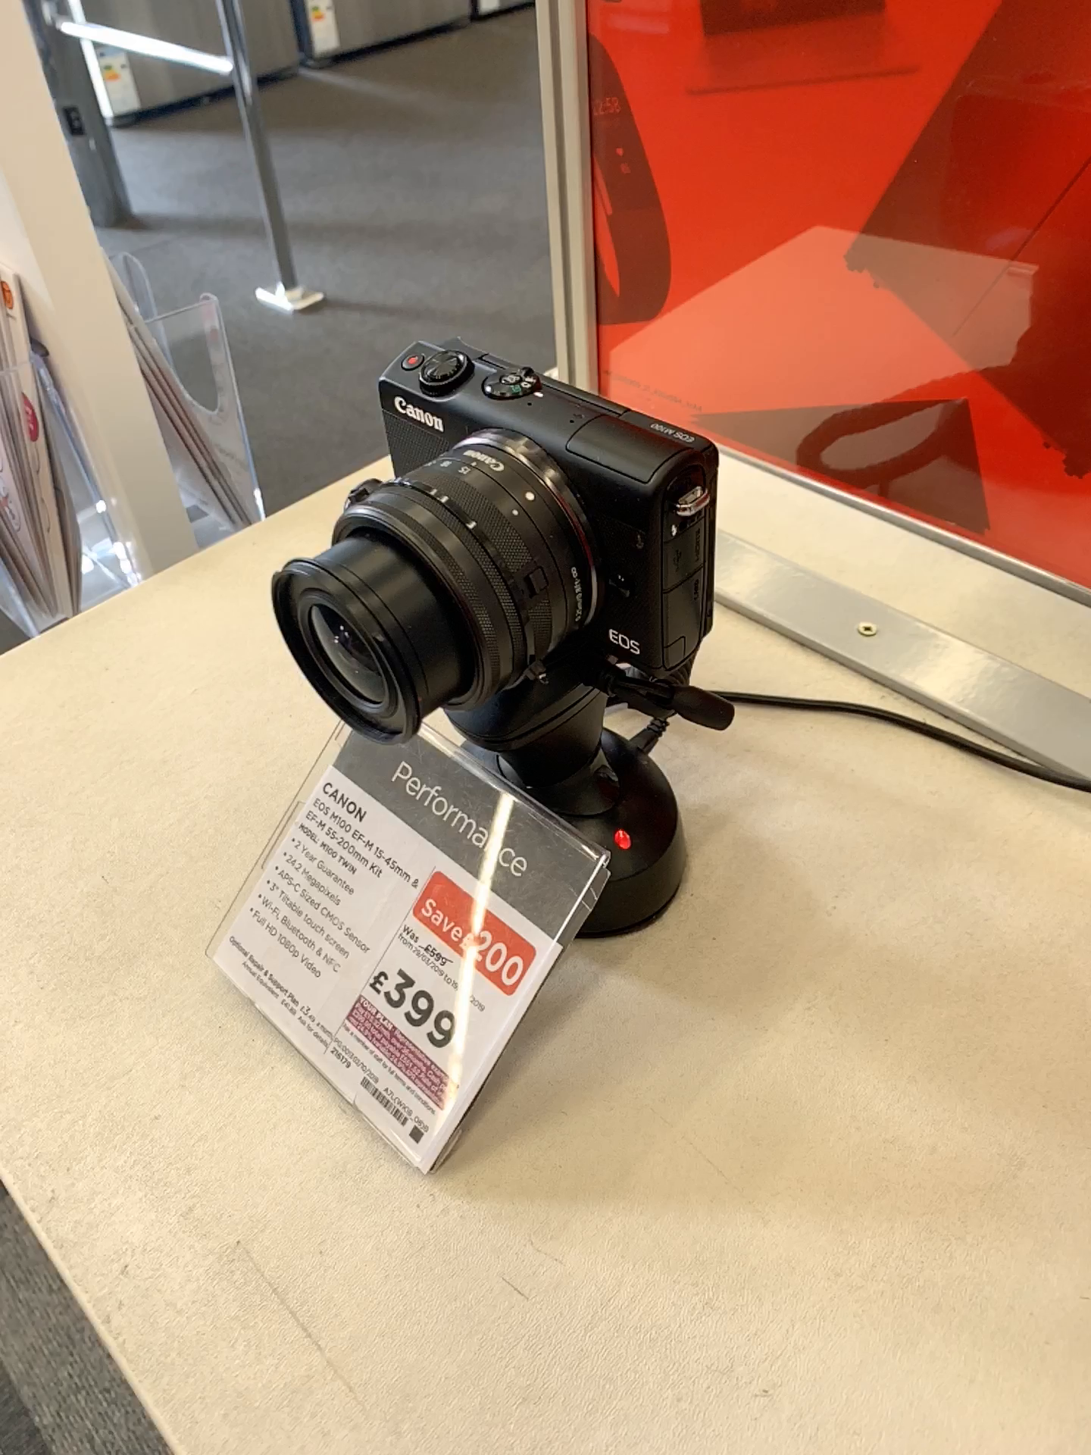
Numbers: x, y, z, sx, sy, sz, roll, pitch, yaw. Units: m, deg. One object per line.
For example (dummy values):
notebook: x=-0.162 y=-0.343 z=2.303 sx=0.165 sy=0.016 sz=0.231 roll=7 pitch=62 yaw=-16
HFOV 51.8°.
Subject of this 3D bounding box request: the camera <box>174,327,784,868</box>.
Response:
camera: x=-0.017 y=-0.044 z=0.309 sx=0.121 sy=0.069 sz=0.100 roll=31 pitch=53 yaw=32
